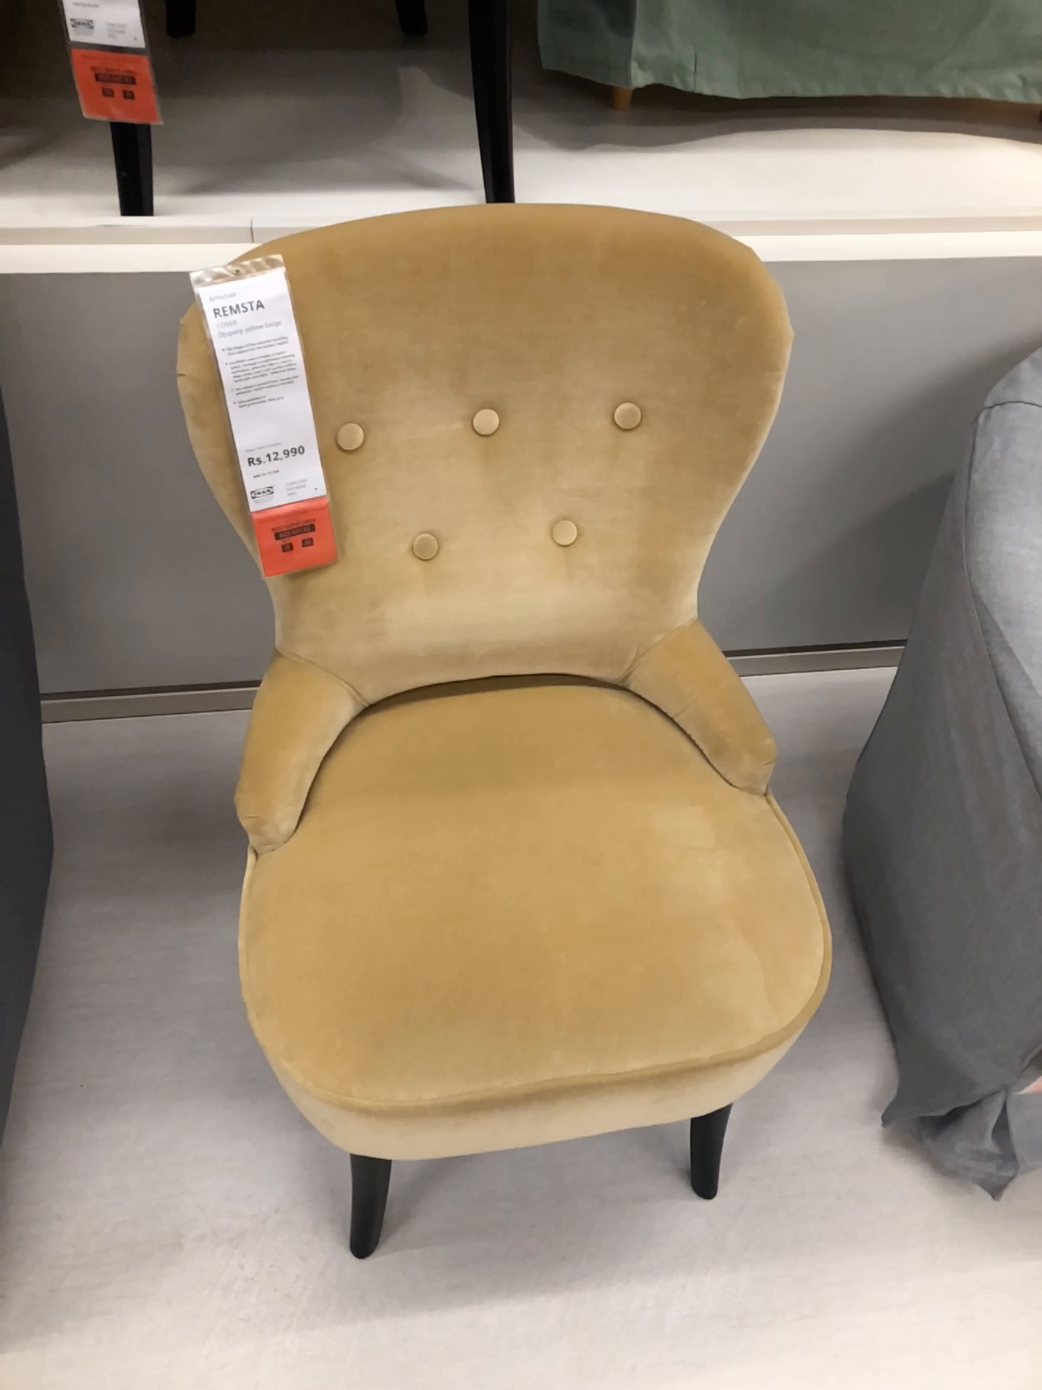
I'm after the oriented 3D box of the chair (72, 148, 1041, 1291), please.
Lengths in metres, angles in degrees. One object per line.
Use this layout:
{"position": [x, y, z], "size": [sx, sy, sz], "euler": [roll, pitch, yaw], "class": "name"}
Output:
{"position": [0.009, 0.072, 1.090], "size": [0.580, 0.865, 0.644], "euler": [-5, 52, -8], "class": "chair"}
